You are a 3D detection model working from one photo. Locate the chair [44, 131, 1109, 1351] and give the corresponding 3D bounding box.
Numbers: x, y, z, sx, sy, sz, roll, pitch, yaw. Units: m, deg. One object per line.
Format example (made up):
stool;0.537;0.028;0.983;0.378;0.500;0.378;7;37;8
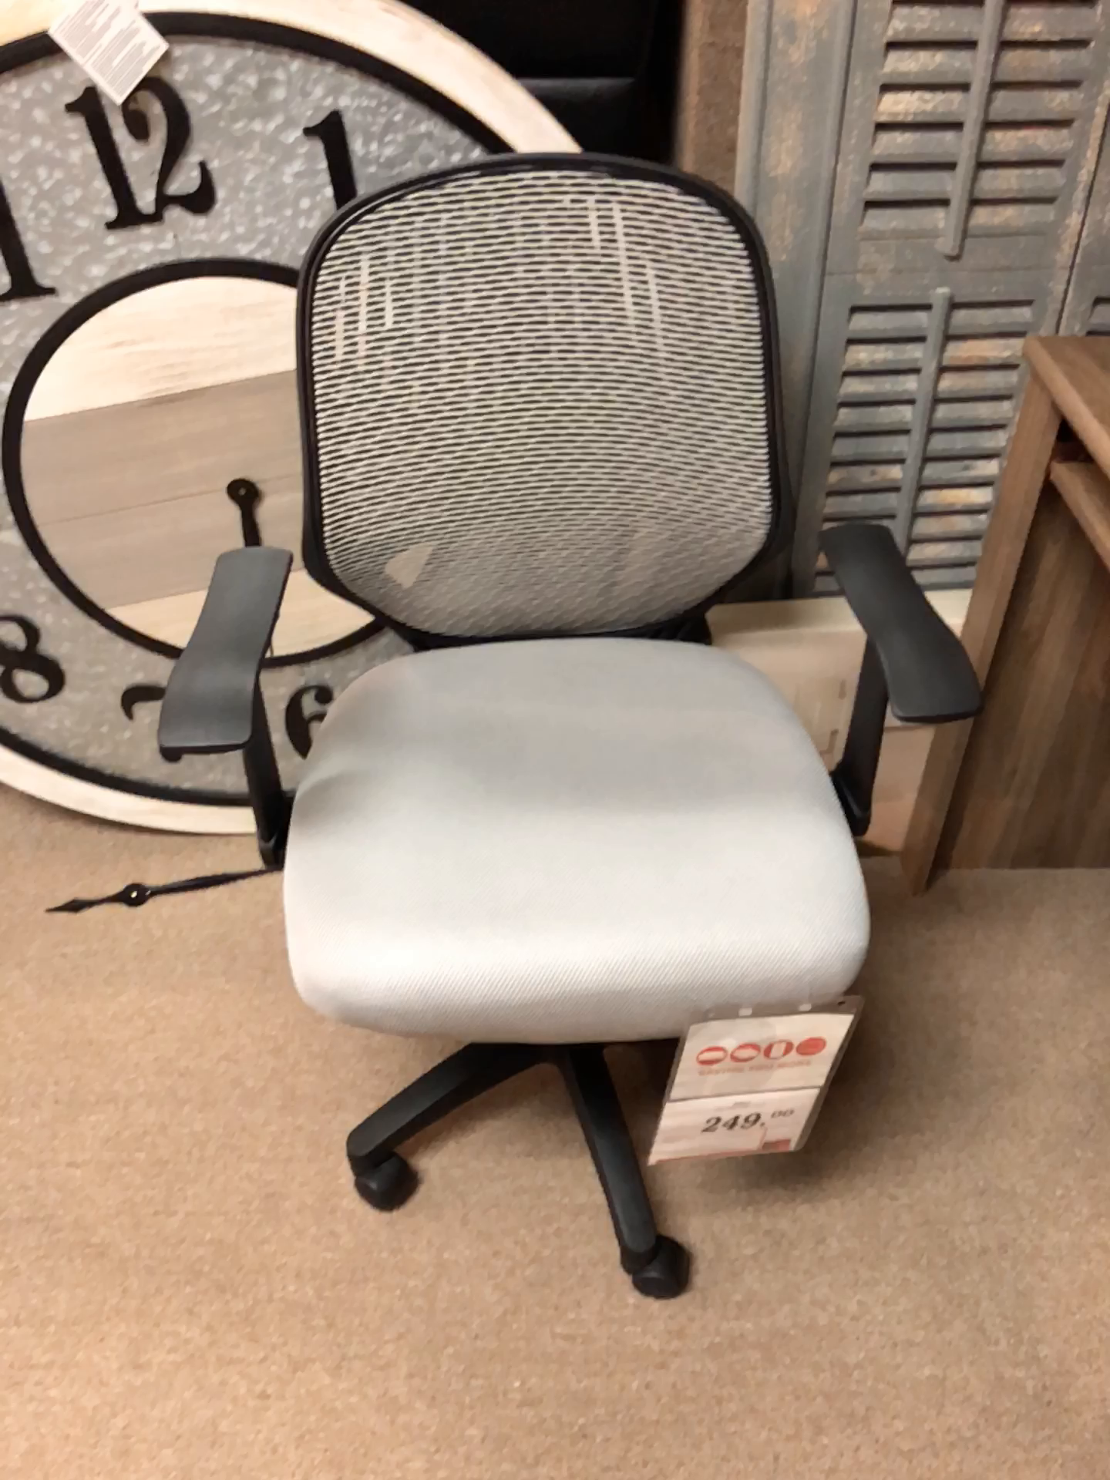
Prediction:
chair;0.026;-0.001;1.132;0.610;0.864;0.675;-4;40;-5
